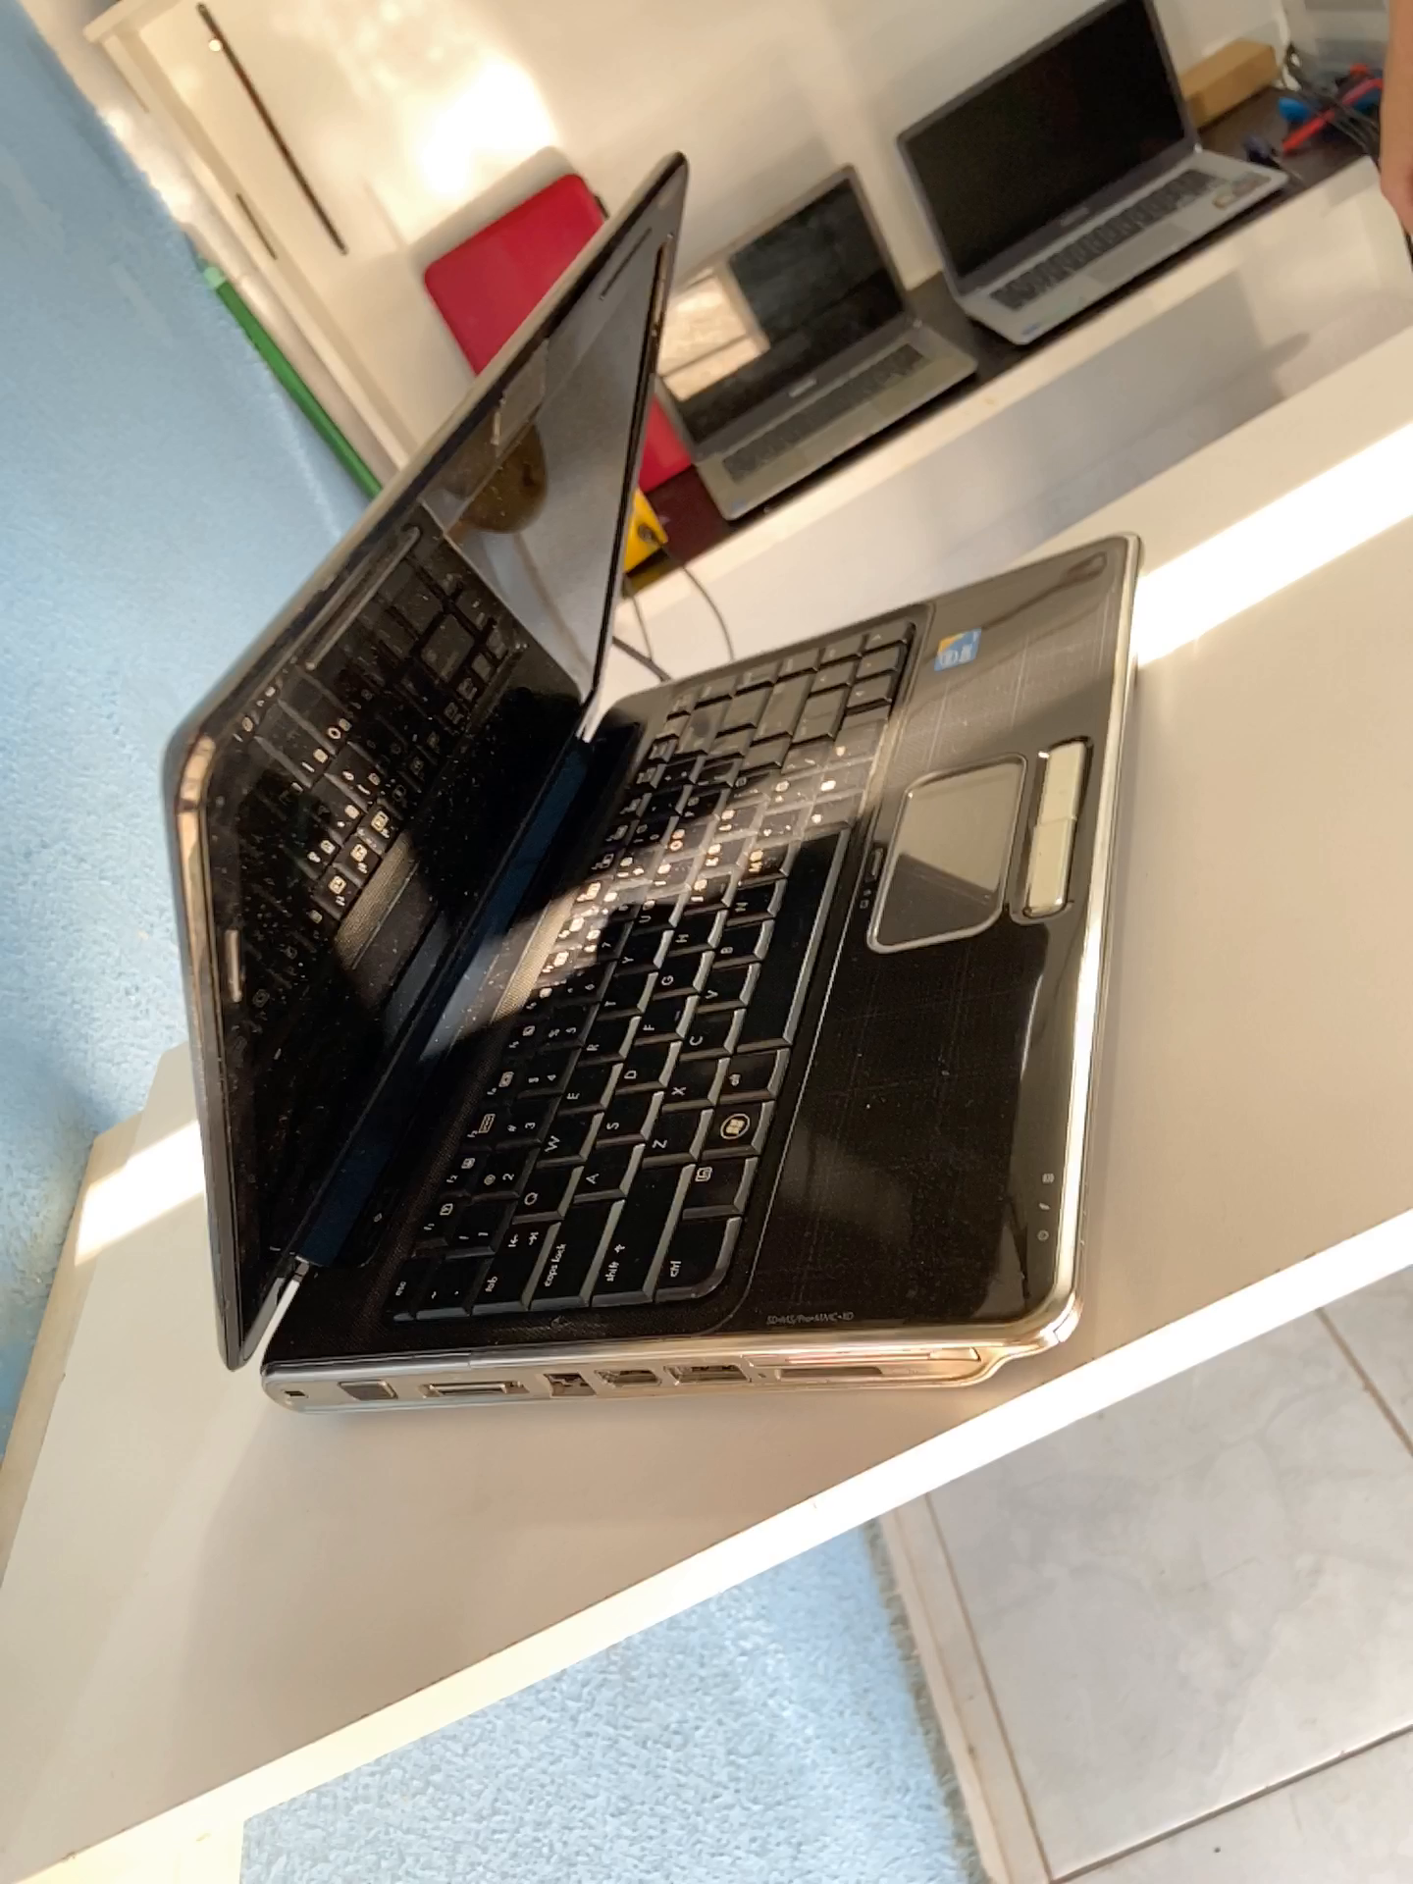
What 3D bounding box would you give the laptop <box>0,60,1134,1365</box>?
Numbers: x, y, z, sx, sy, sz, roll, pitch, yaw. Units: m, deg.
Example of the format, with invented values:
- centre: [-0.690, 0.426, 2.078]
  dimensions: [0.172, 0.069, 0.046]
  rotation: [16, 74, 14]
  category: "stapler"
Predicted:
- centre: [-0.027, -0.073, 0.417]
  dimensions: [0.225, 0.165, 0.326]
  rotation: [-13, 37, 30]
  category: "laptop"
